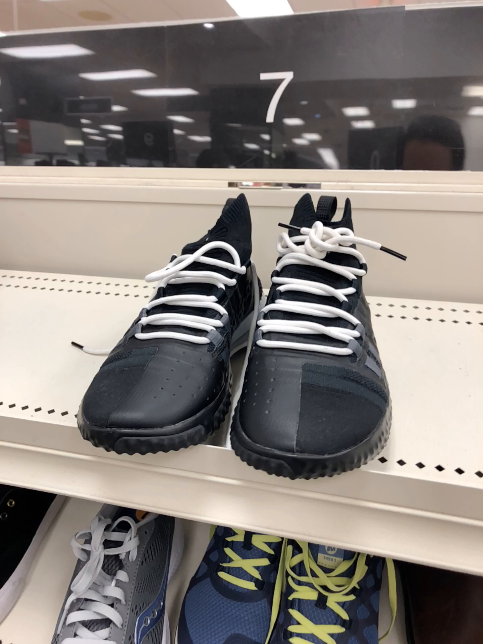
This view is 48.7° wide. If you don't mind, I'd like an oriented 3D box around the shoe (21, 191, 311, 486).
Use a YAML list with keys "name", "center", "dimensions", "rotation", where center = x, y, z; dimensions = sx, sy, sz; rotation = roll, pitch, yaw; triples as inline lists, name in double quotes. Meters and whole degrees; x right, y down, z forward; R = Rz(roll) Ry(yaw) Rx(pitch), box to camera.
- name: "shoe"
  center: [-0.026, -0.027, 0.486]
  dimensions: [0.120, 0.136, 0.352]
  rotation: [5, 21, 15]

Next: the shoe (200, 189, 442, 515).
- name: "shoe"
  center: [0.076, -0.020, 0.451]
  dimensions: [0.120, 0.136, 0.352]
  rotation: [4, 21, 12]
